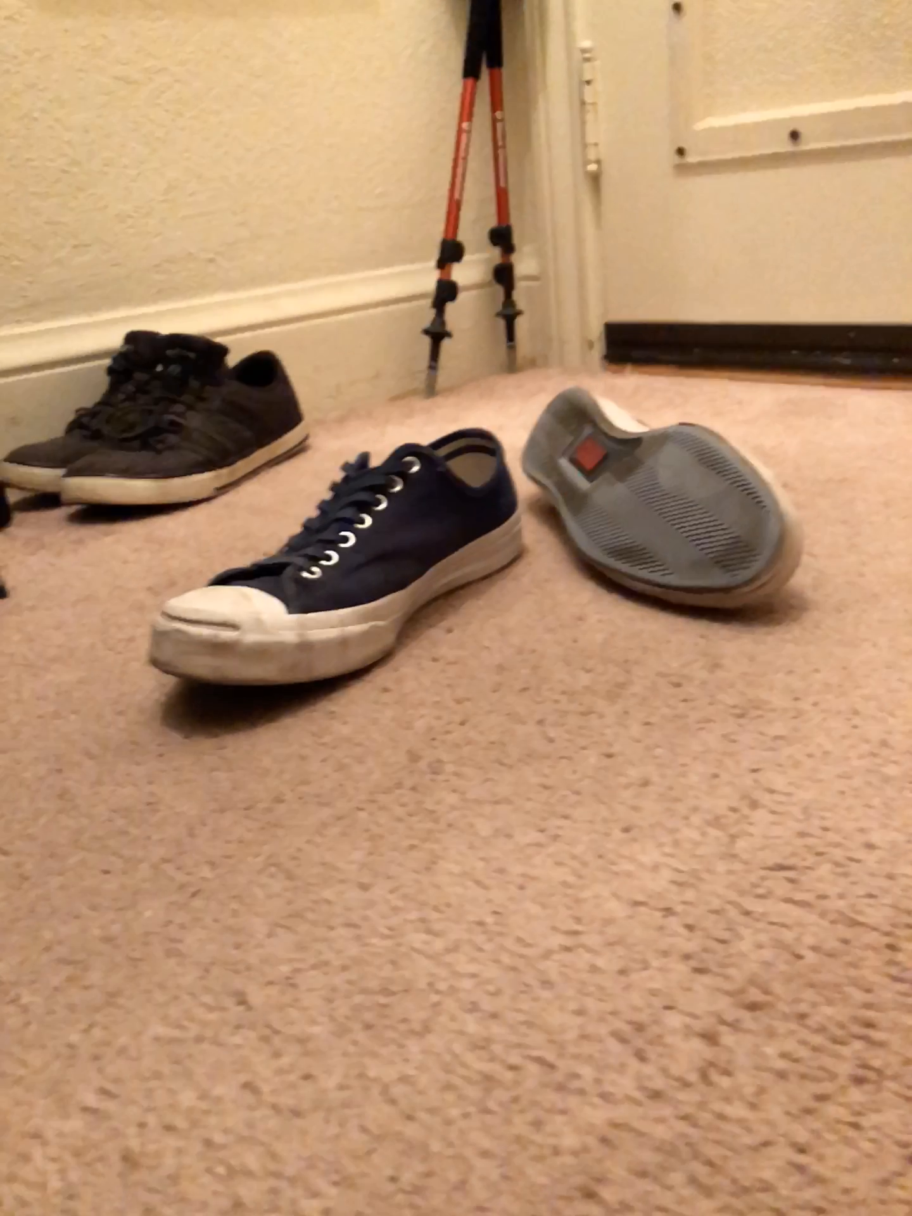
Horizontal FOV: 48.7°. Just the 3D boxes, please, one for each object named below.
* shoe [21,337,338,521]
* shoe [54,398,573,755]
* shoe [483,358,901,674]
[{"bbox_3d":[-0.224,-0.169,0.889,0.106,0.099,0.297,5,23,21],"label":"shoe"},{"bbox_3d":[-0.059,-0.039,0.578,0.116,0.099,0.287,11,28,36],"label":"shoe"},{"bbox_3d":[0.127,-0.076,0.652,0.099,0.104,0.297,16,15,-23],"label":"shoe"}]
